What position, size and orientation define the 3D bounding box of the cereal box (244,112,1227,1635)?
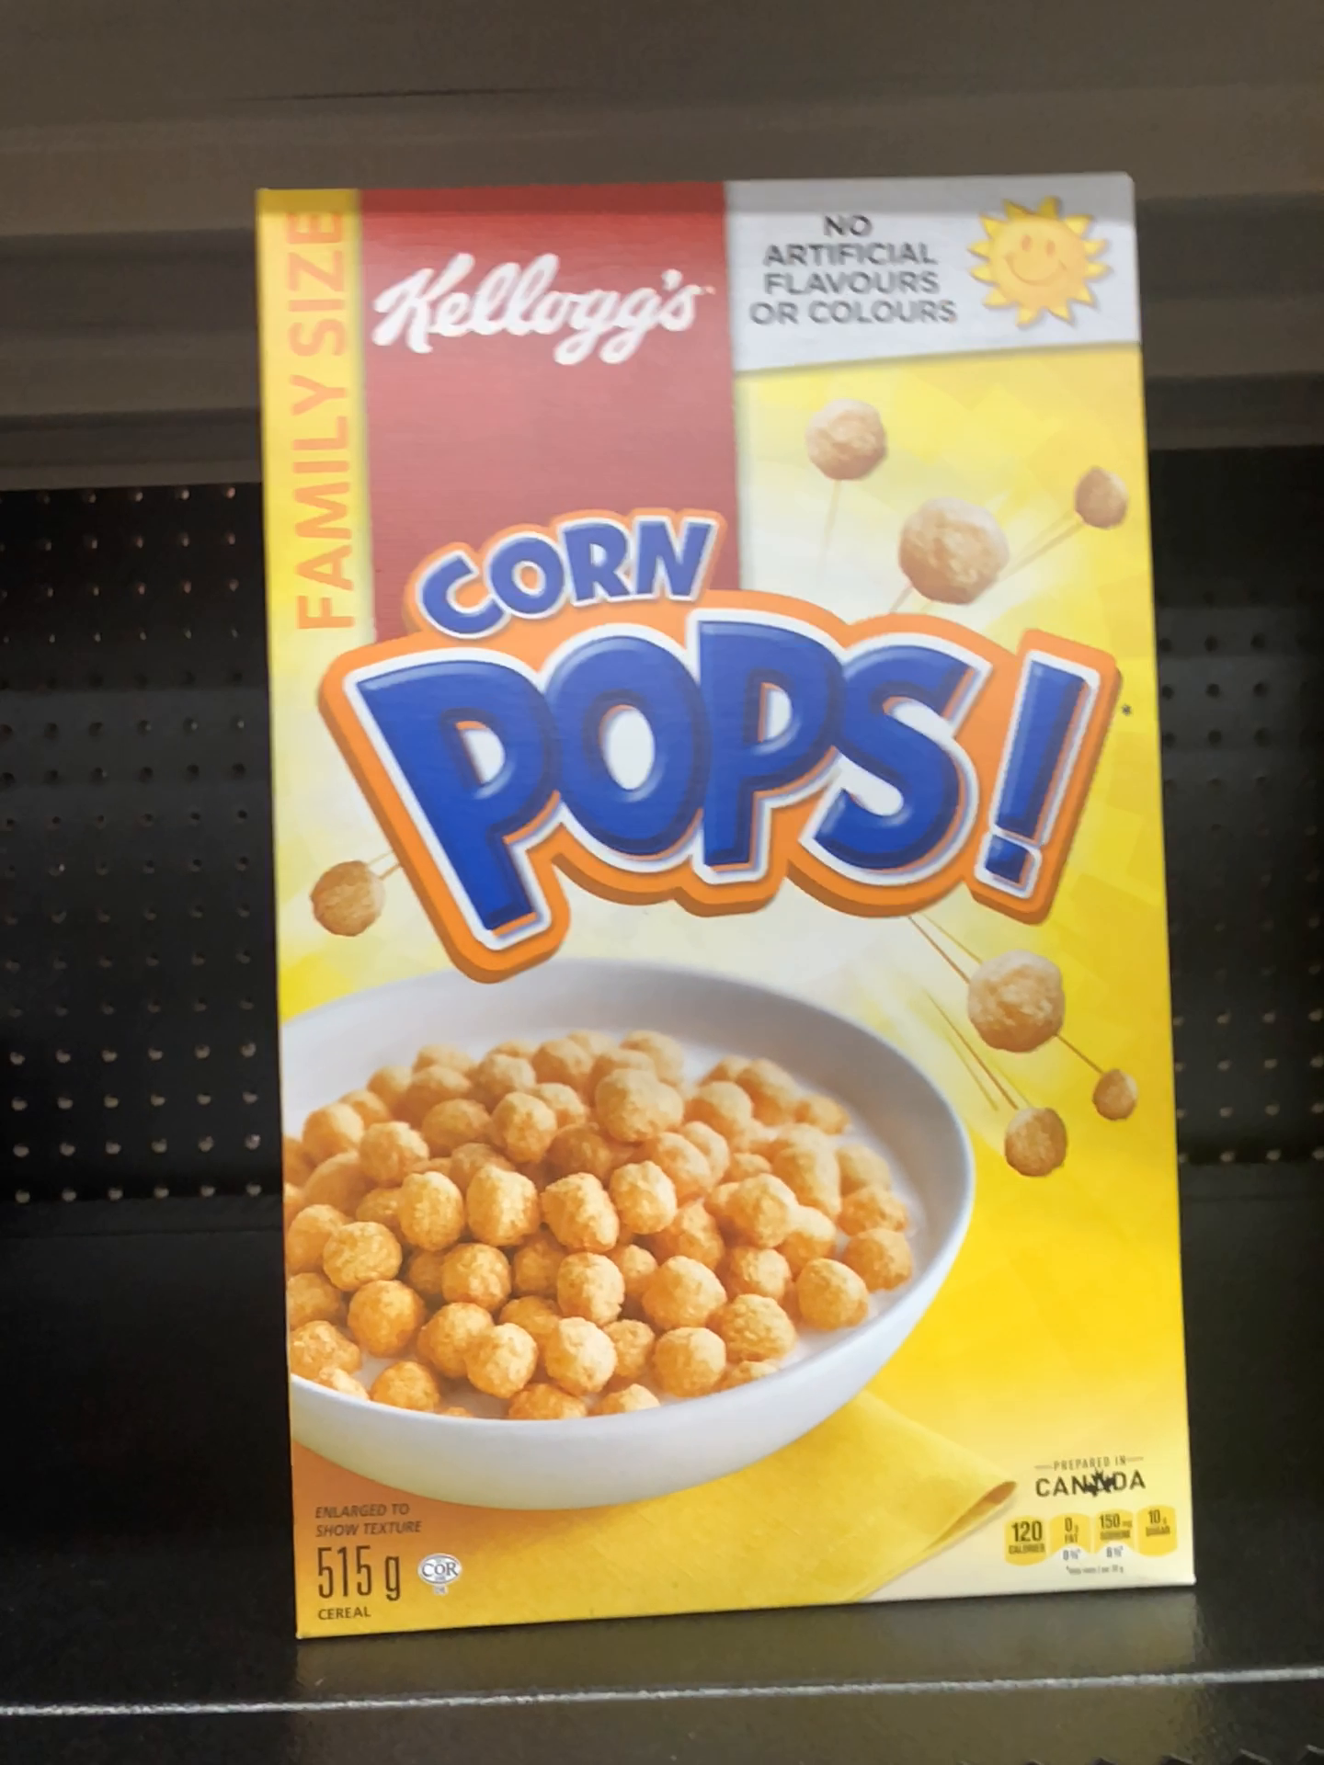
[{"bbox_3d":[0.013,-0.008,0.358,0.200,0.320,0.090,-2,-3,-3],"label":"cereal box"}]
